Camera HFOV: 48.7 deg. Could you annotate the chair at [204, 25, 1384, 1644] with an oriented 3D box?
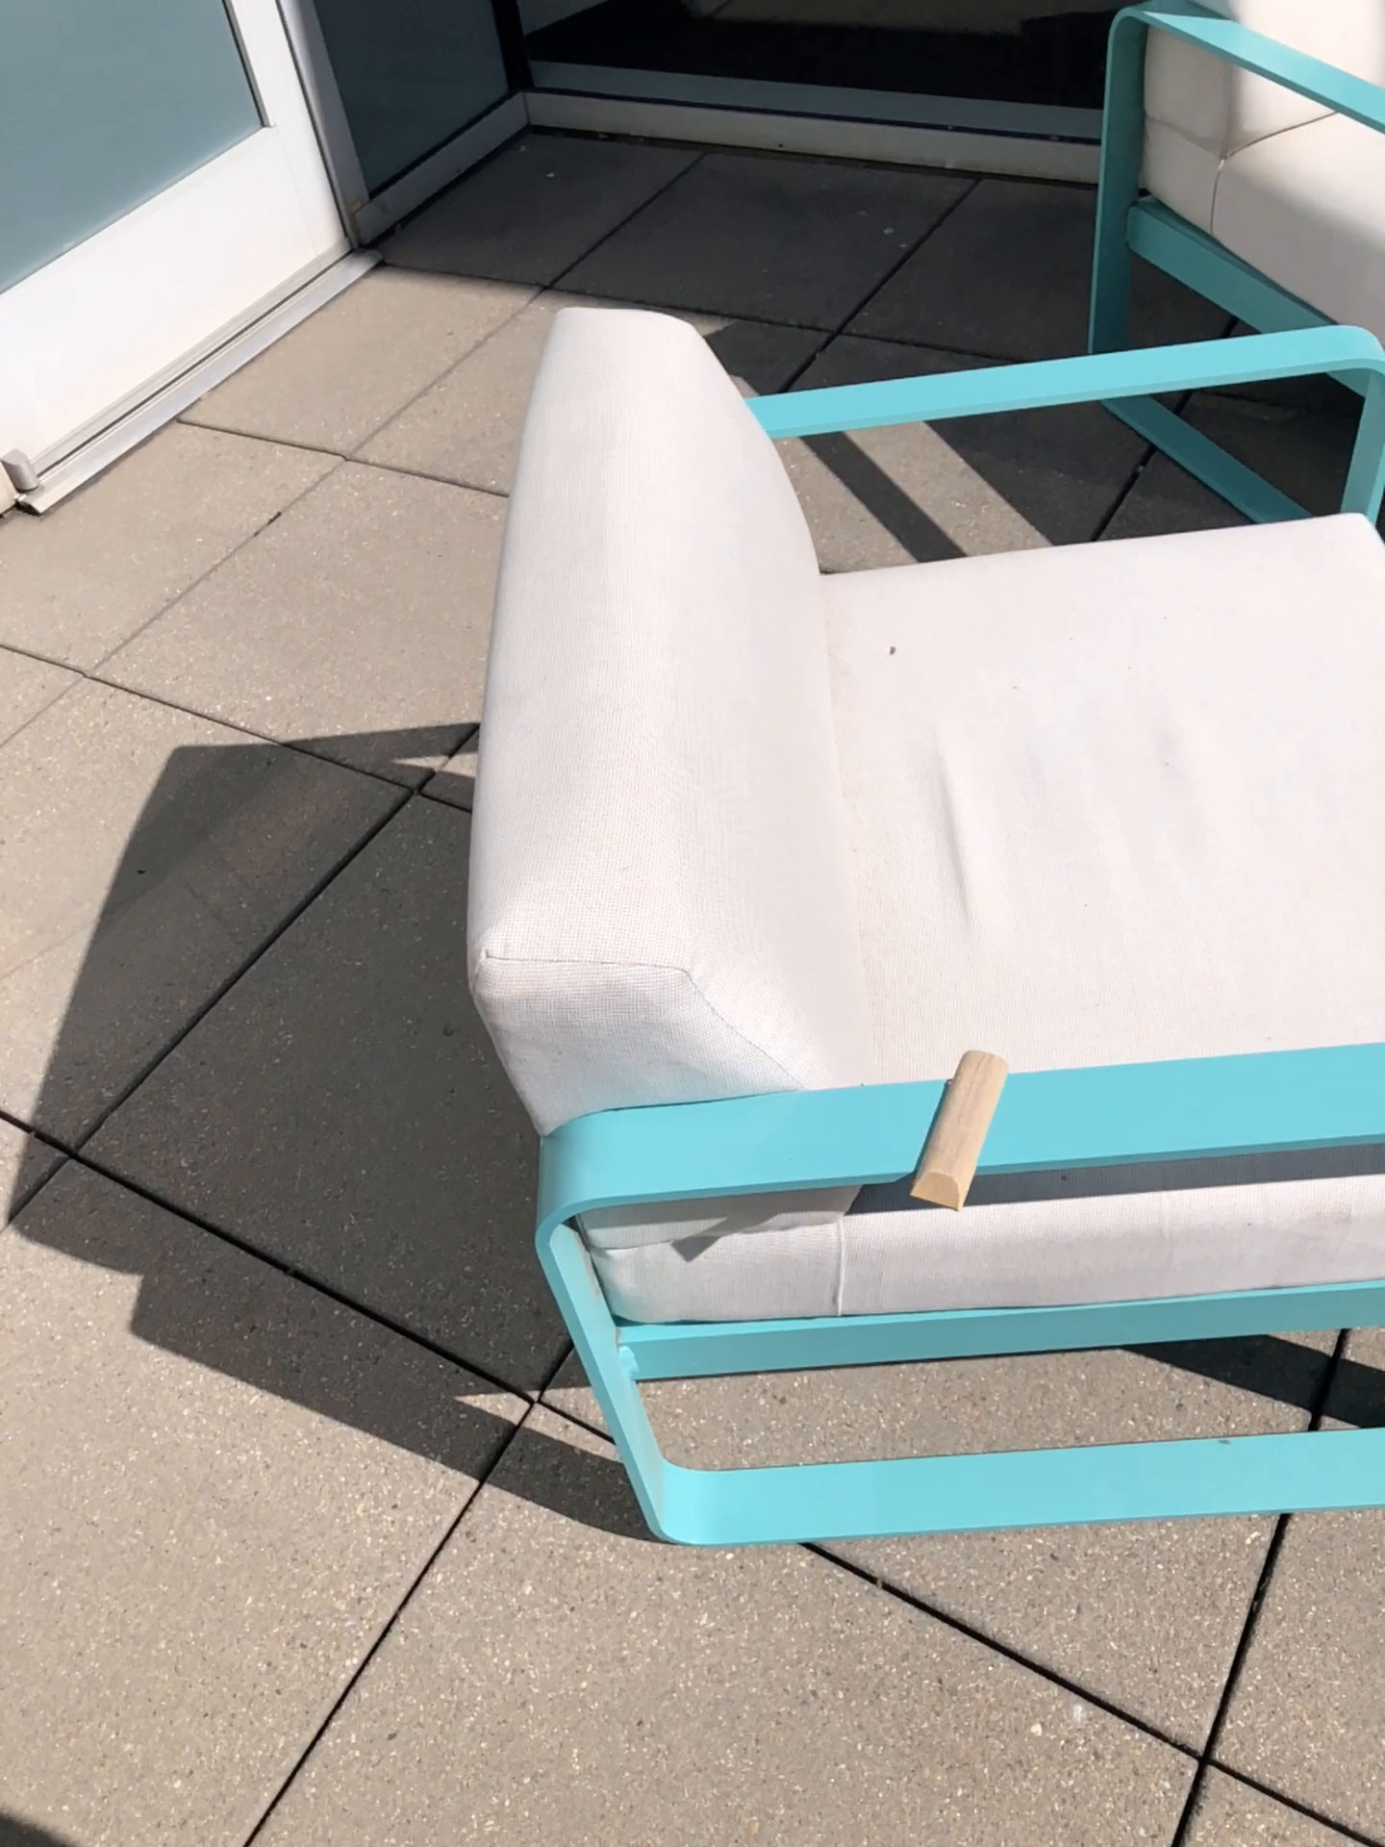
[{"bbox_3d":[0.242,-0.073,1.217,0.870,0.767,0.904,-8,47,3],"label":"chair"}]
